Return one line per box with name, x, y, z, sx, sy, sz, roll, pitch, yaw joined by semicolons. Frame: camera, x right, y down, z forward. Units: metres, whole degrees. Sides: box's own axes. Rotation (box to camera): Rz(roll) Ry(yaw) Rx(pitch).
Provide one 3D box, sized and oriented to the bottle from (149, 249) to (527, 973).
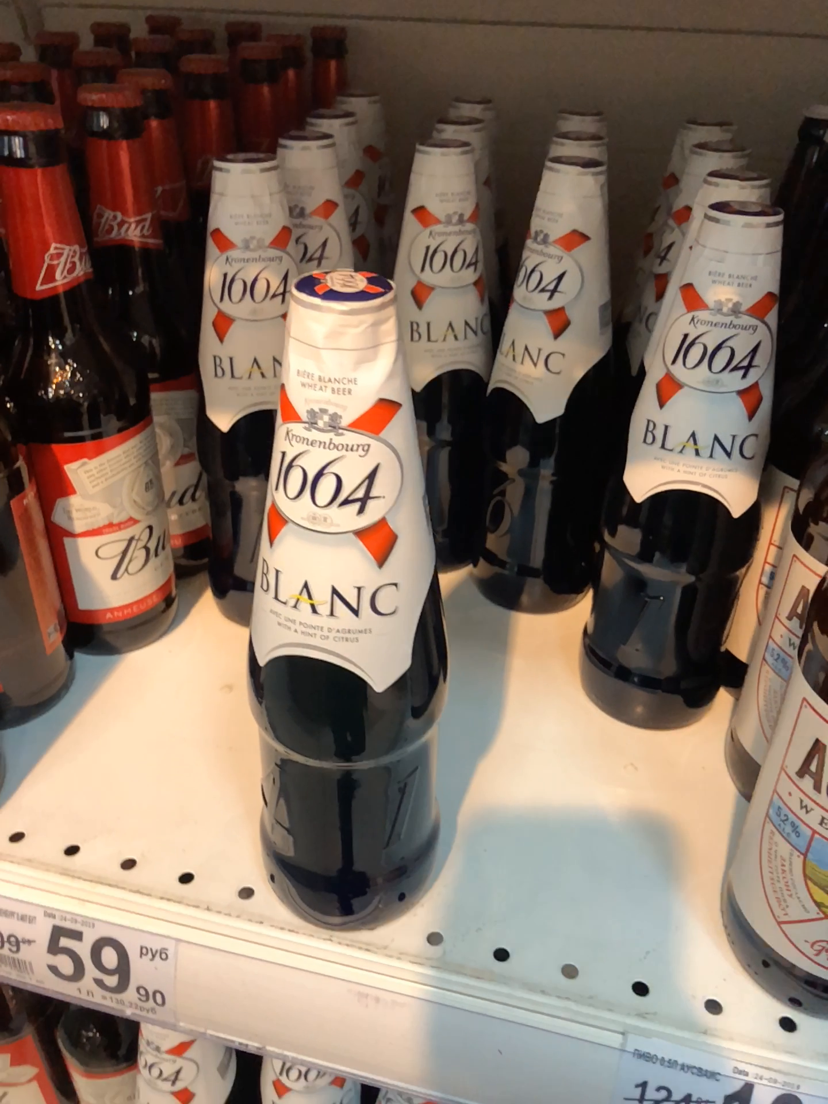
bottle;-0.019;0.030;0.309;0.080;0.234;0.070;11;35;15
